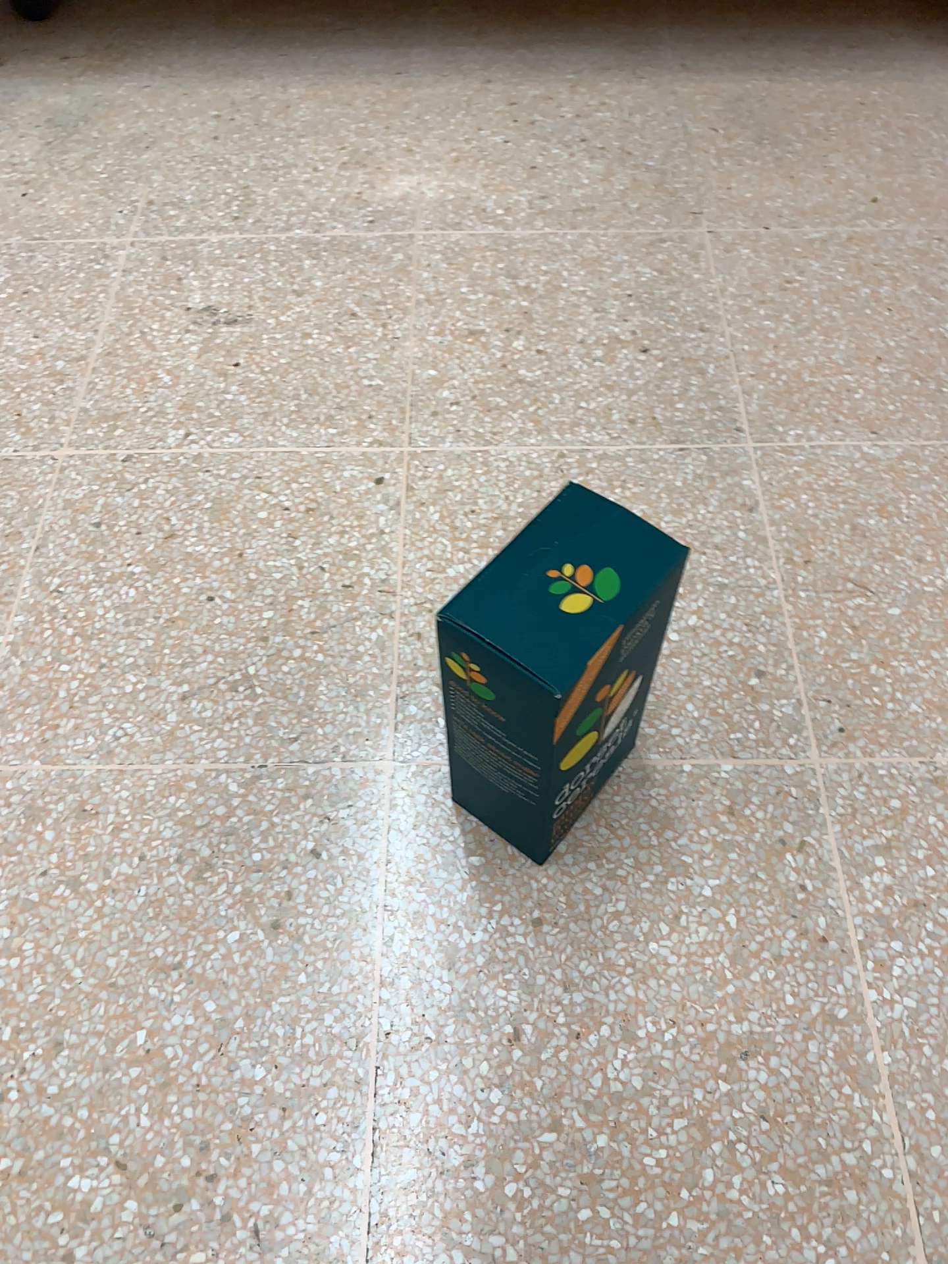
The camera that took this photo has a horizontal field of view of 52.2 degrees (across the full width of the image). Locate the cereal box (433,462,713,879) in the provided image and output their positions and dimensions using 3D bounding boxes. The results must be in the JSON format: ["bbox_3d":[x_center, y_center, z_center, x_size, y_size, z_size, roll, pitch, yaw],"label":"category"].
[{"bbox_3d":[0.051,0.036,0.569,0.080,0.238,0.121,34,64,20],"label":"cereal box"}]
